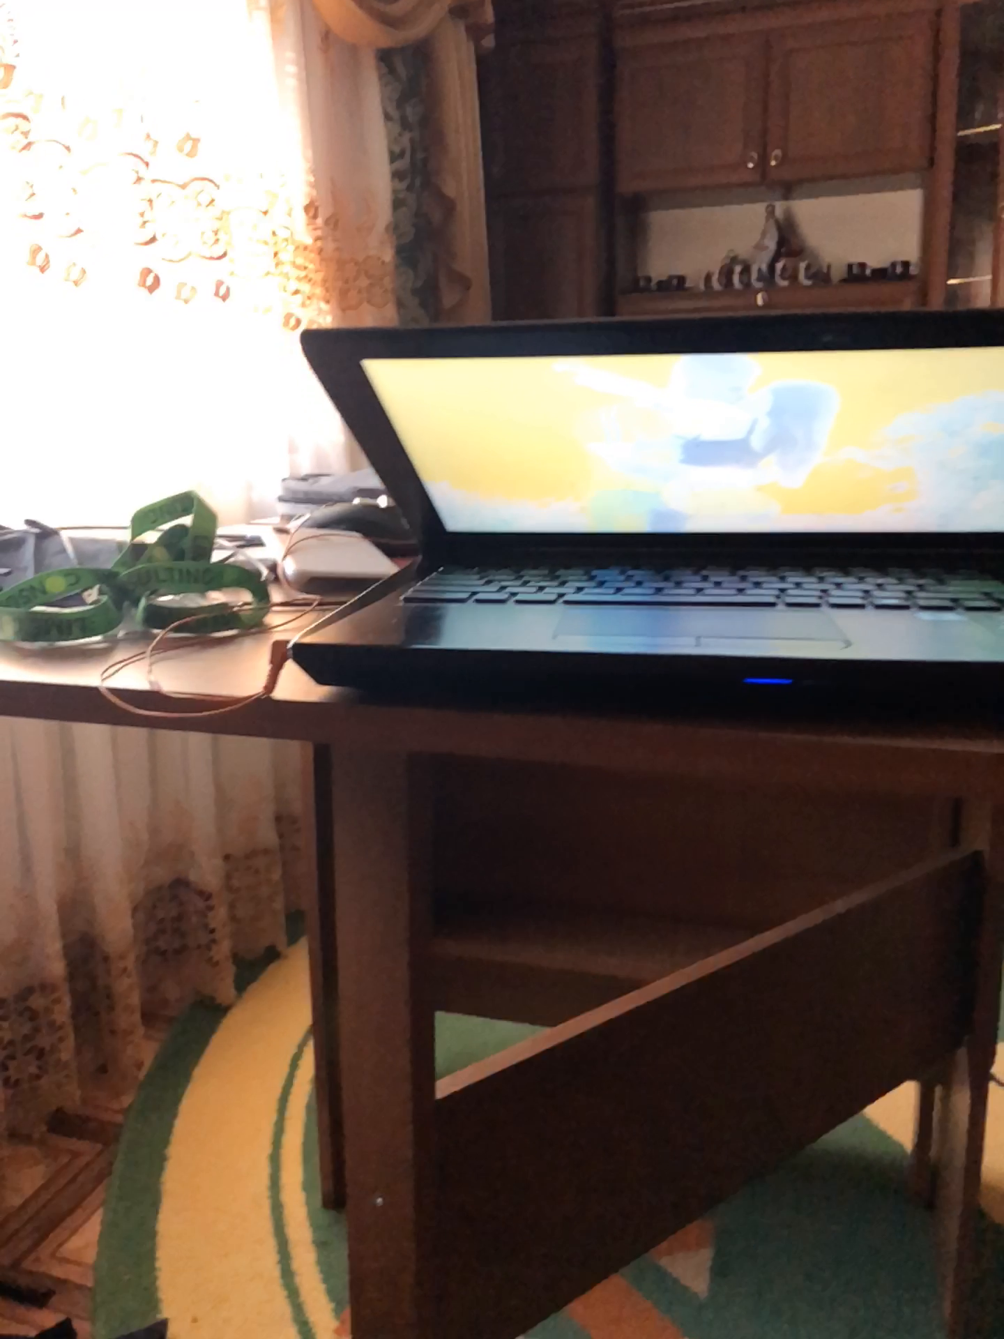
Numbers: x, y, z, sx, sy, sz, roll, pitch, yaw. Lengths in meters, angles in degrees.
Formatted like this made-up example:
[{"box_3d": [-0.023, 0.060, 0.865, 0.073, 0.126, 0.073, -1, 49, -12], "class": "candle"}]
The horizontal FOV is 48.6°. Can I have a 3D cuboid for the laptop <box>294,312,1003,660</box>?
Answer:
[{"box_3d": [0.127, -0.080, 0.460, 0.372, 0.095, 0.239, 1, 13, 10], "class": "laptop"}]
